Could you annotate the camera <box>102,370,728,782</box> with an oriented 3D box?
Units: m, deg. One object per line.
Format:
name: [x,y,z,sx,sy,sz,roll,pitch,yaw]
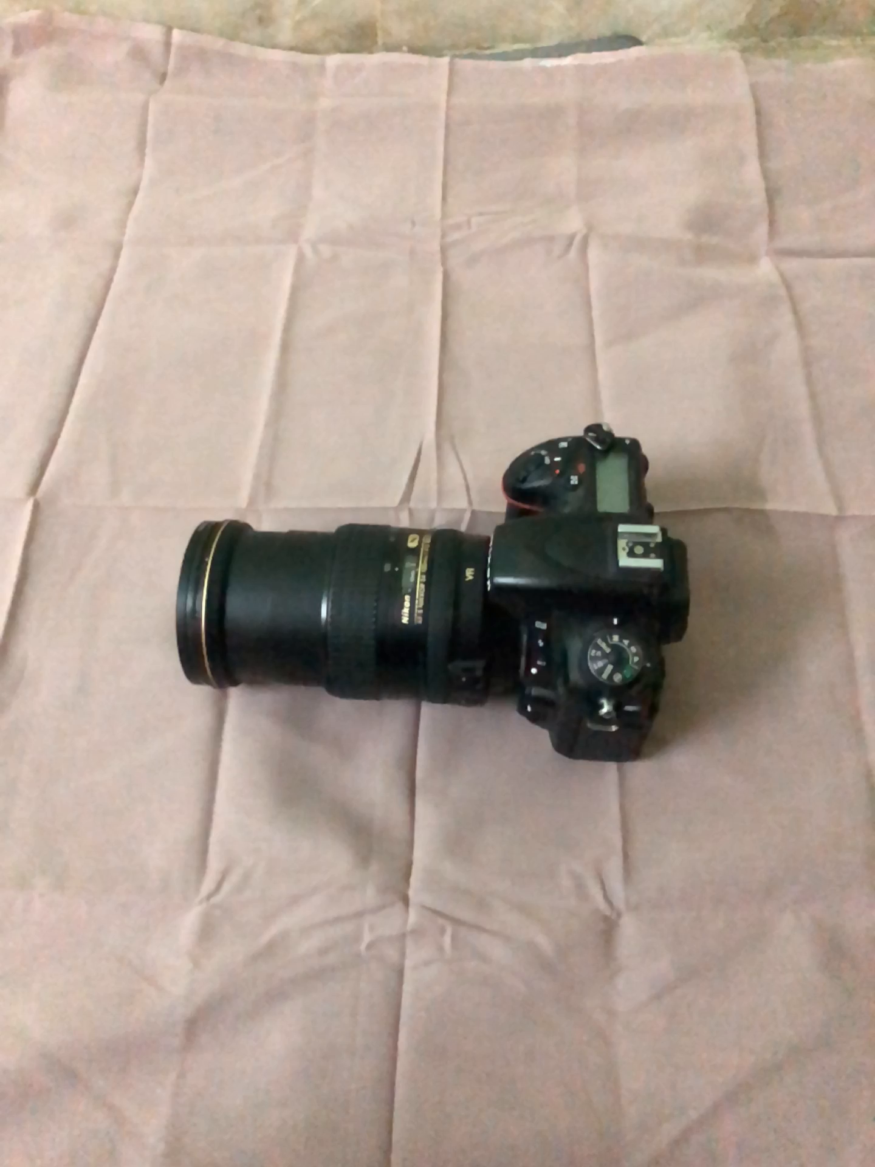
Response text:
camera: [-0.004,-0.002,0.439,0.231,0.110,0.139,3,60,3]
